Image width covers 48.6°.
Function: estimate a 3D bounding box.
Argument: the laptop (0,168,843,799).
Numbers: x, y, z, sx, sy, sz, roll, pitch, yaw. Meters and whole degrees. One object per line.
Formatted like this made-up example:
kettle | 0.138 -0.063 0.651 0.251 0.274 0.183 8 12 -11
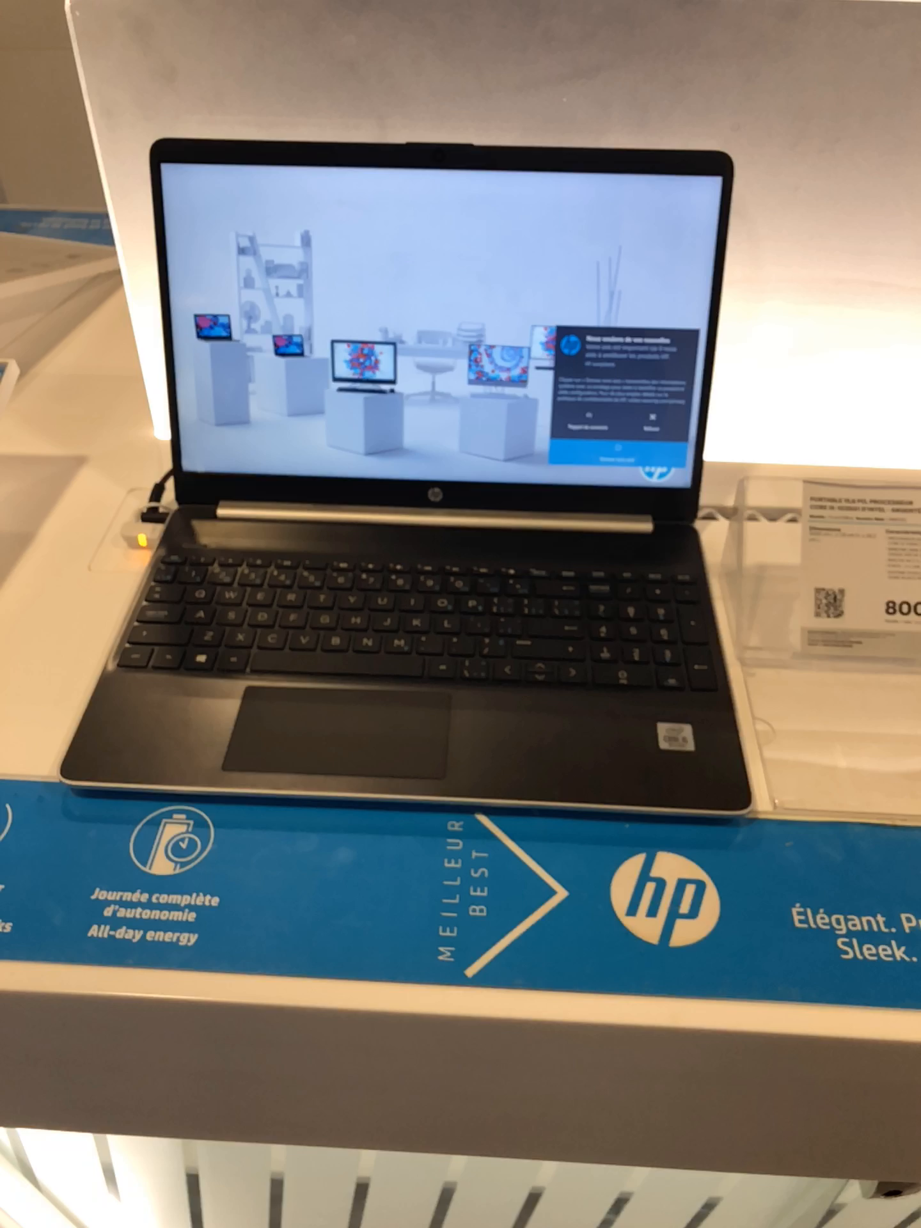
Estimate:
laptop | -0.022 -0.092 0.564 0.336 0.206 0.317 3 39 3
